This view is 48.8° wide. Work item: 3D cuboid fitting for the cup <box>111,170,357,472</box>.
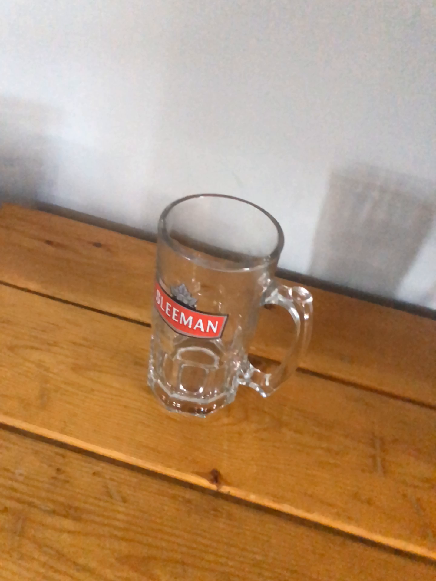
[{"bbox_3d":[0.001,0.032,0.444,0.160,0.209,0.110,27,46,16],"label":"cup"}]
